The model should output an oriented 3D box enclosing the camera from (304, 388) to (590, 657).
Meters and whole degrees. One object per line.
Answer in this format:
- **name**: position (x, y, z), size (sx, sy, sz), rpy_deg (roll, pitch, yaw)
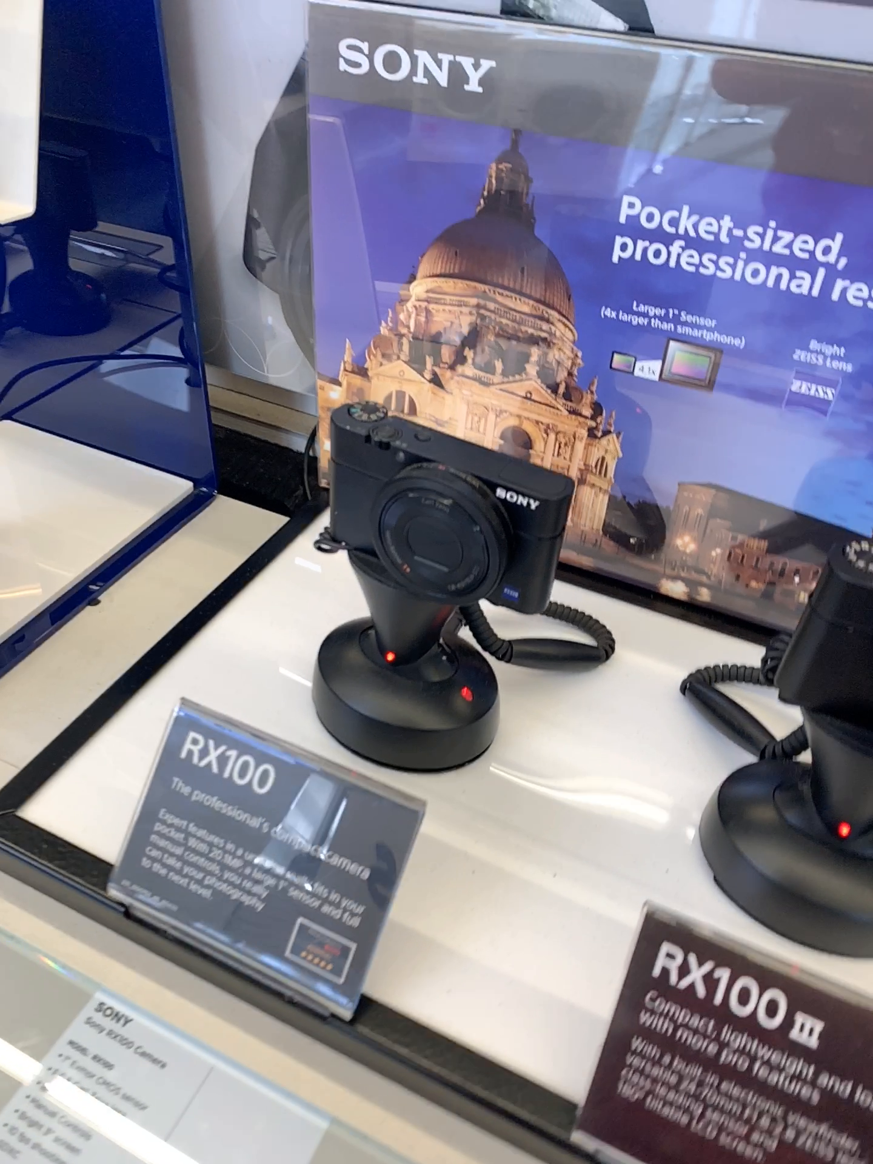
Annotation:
- **camera**: position (0.002, -0.025, 0.357), size (0.100, 0.069, 0.040), rpy_deg (20, 42, 19)
